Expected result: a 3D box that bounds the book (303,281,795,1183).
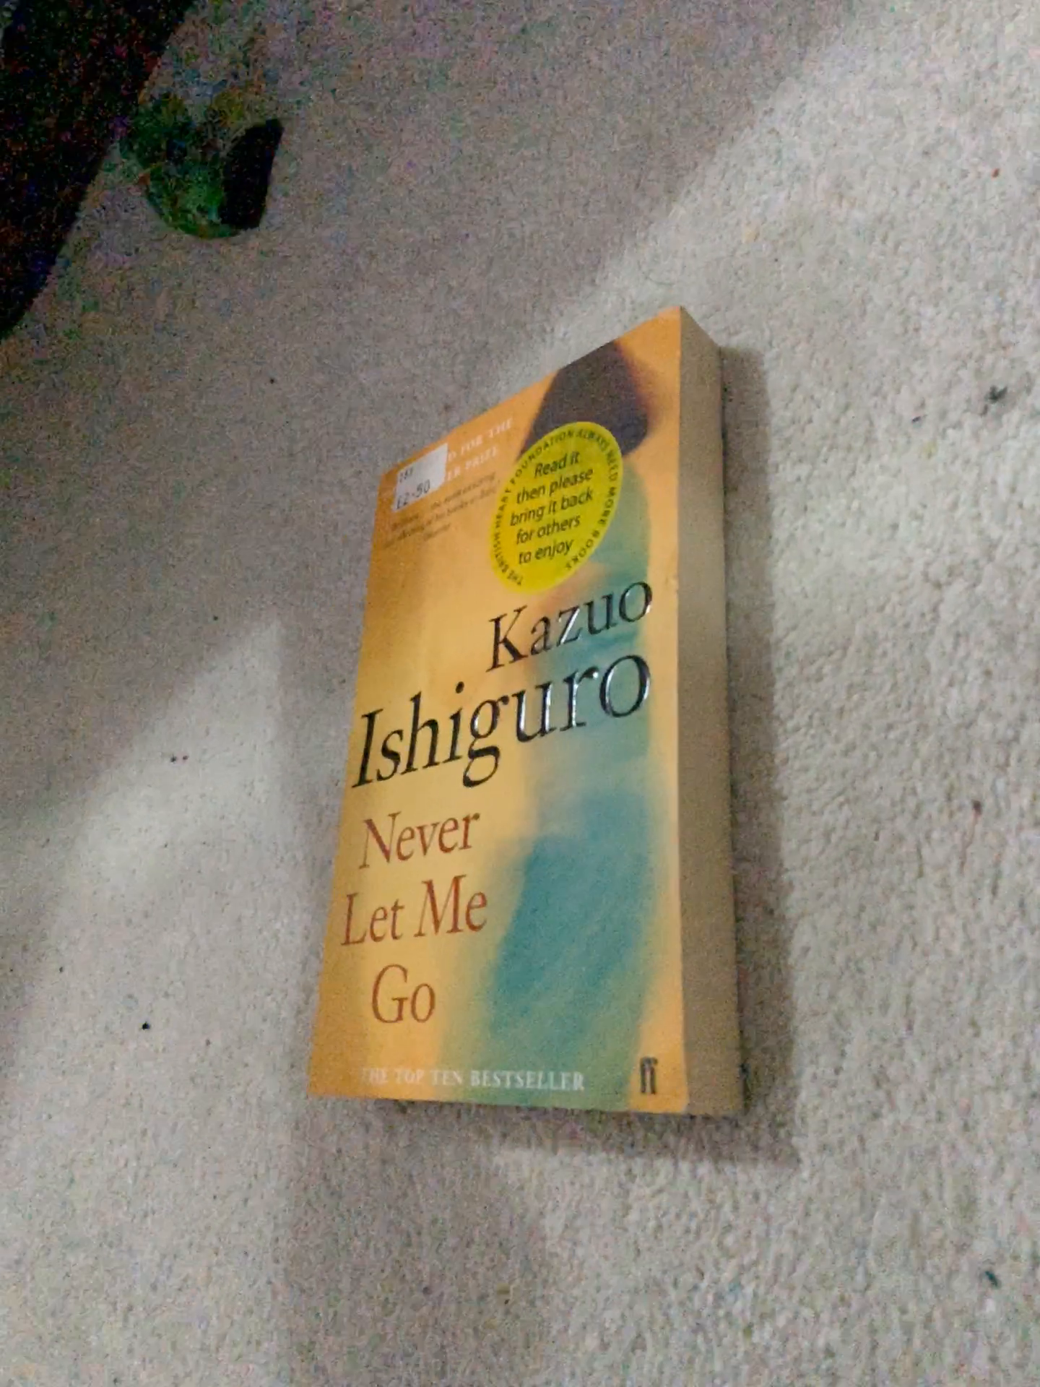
[{"bbox_3d":[0.002,0.011,0.290,0.141,0.020,0.211,-18,61,42],"label":"book"}]
